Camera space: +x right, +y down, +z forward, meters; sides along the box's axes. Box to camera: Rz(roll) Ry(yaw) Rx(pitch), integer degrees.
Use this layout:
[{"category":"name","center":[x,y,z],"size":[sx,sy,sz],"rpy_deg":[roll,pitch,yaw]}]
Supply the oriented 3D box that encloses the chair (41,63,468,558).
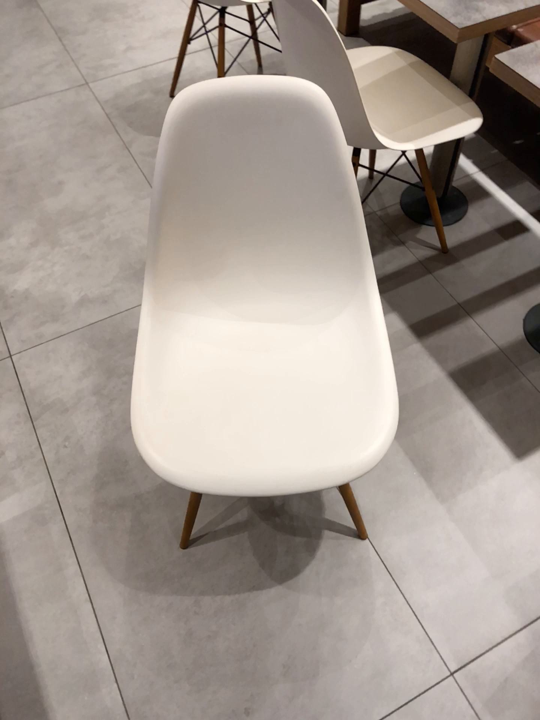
[{"category":"chair","center":[-0.018,-0.025,1.128],"size":[0.471,0.780,0.554],"rpy_deg":[-3,55,0]}]

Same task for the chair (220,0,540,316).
[{"category":"chair","center":[0.254,-0.646,1.549],"size":[0.512,0.770,0.563],"rpy_deg":[-24,58,-14]}]
